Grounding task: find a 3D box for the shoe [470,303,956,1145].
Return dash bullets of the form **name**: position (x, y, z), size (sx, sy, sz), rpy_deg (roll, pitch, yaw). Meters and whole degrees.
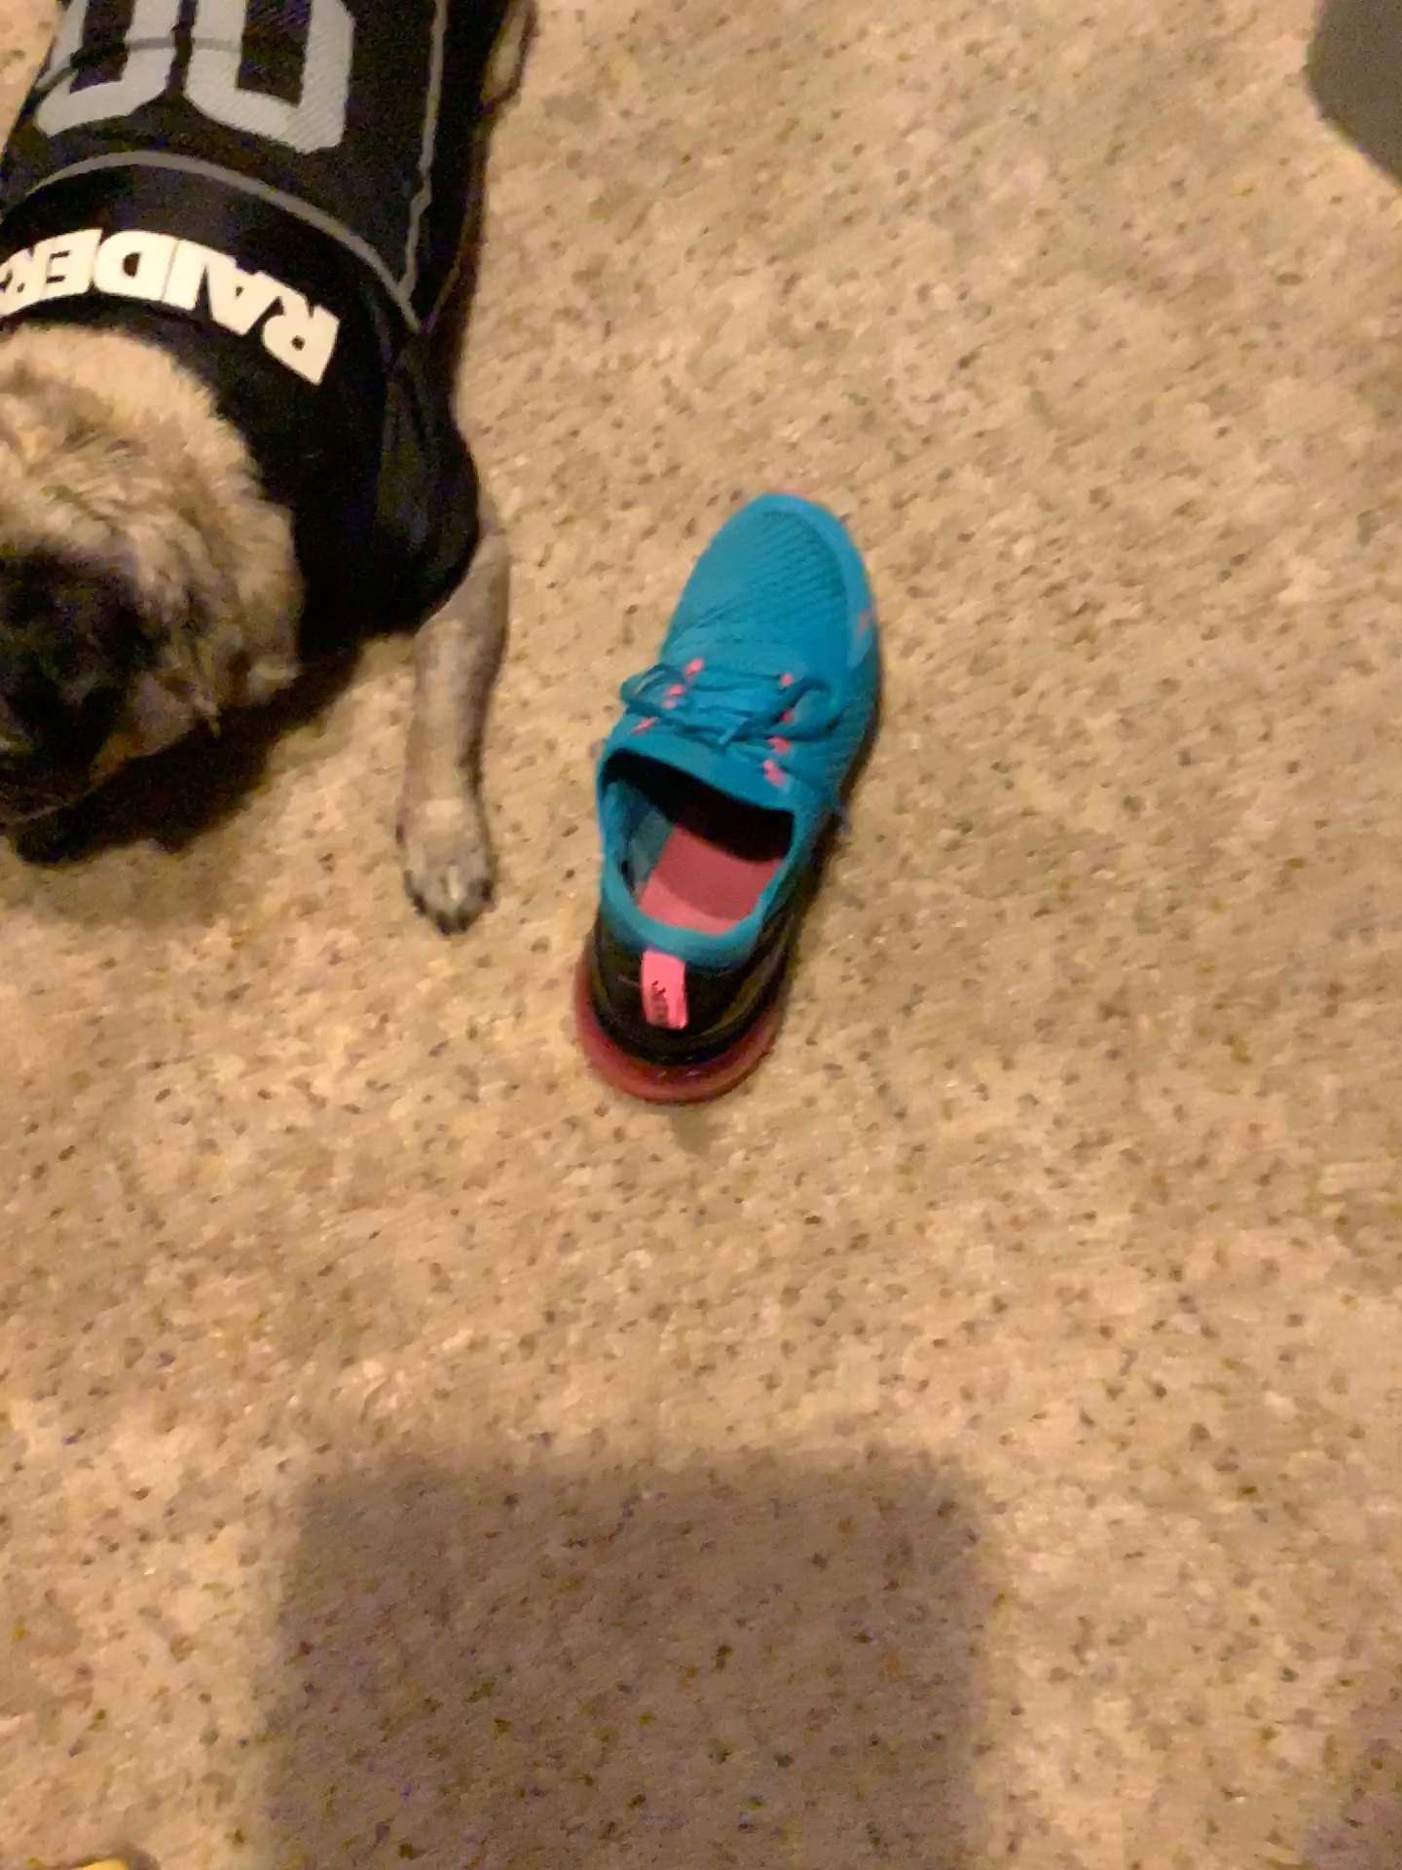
- **shoe**: position (0.011, -0.094, 0.726), size (0.130, 0.140, 0.340), rpy_deg (13, 74, 3)
